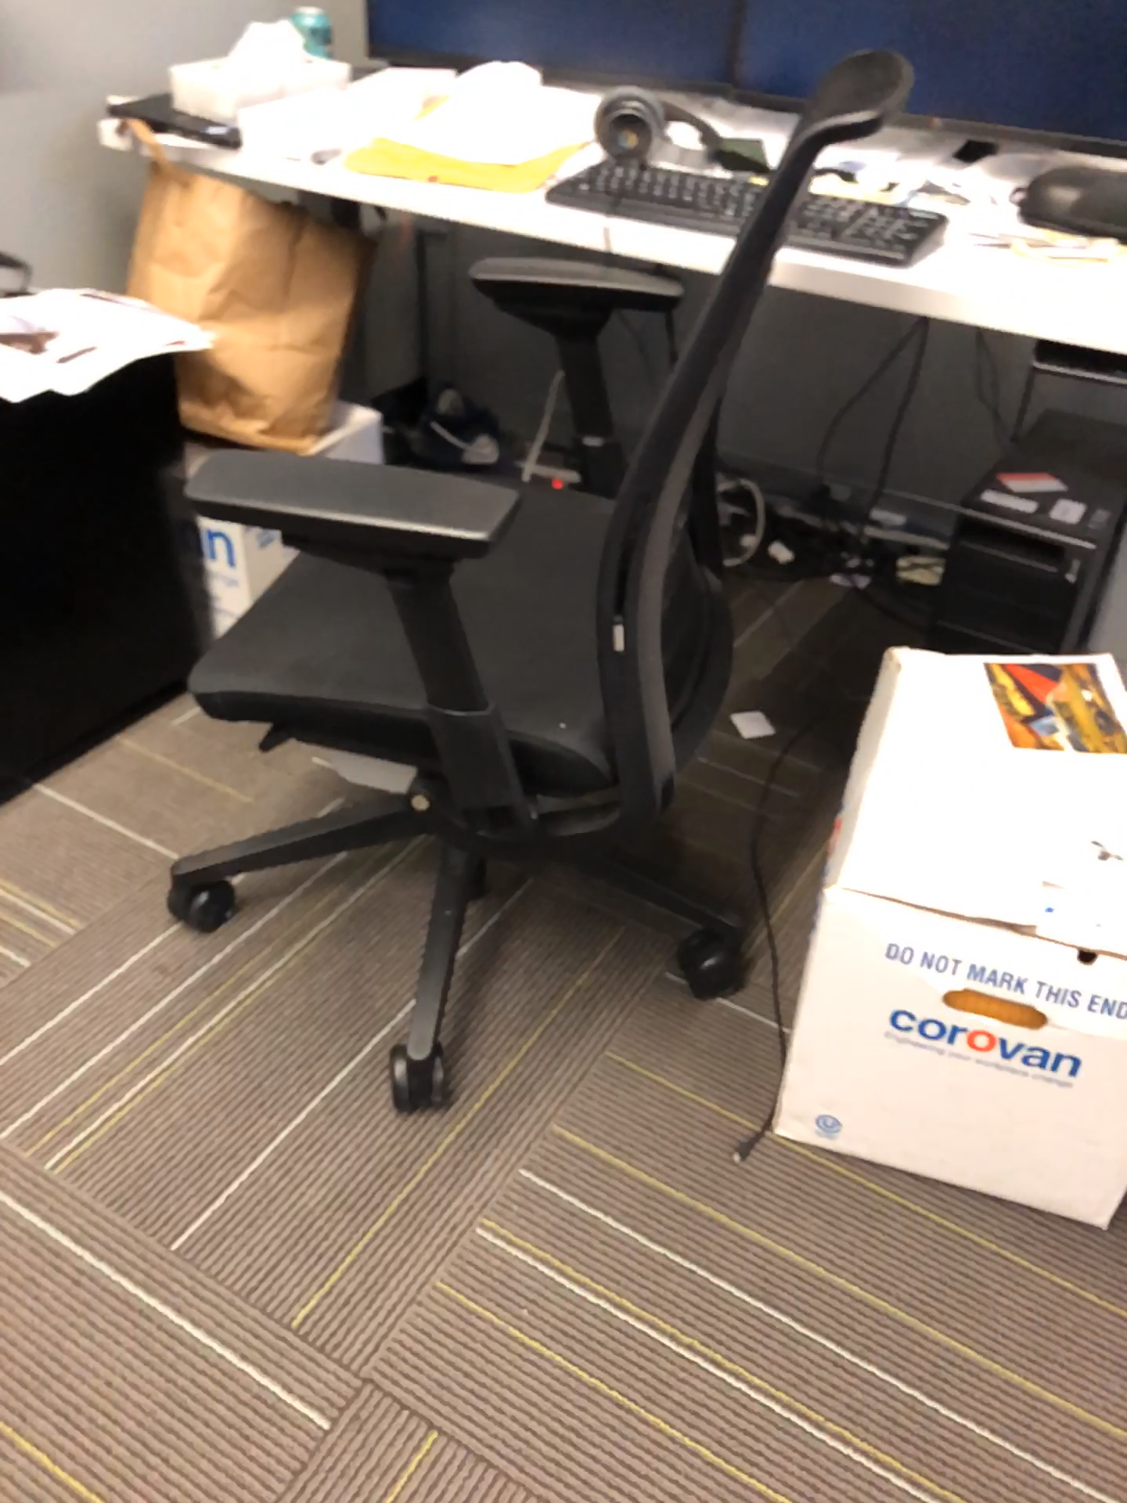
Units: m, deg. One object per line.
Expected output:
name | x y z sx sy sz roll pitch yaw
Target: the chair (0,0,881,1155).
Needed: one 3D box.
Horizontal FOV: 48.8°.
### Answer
chair | -0.085 -0.223 1.260 0.610 0.935 0.674 9 35 7
